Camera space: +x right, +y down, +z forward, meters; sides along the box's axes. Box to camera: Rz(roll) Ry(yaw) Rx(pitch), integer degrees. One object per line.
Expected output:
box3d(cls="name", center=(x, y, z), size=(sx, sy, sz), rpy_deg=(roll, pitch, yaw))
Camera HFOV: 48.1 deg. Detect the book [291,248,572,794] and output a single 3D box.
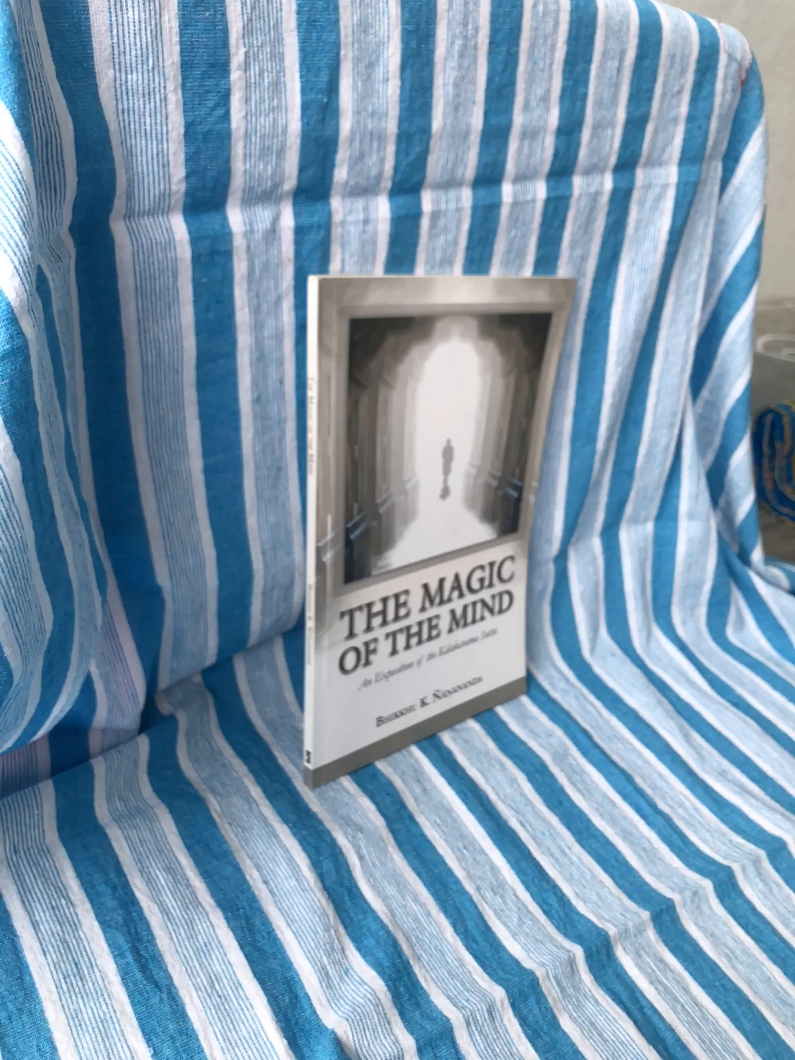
box3d(cls="book", center=(0.018, -0.008, 0.396), size=(0.151, 0.219, 0.010), rpy_deg=(-13, 22, -40))
